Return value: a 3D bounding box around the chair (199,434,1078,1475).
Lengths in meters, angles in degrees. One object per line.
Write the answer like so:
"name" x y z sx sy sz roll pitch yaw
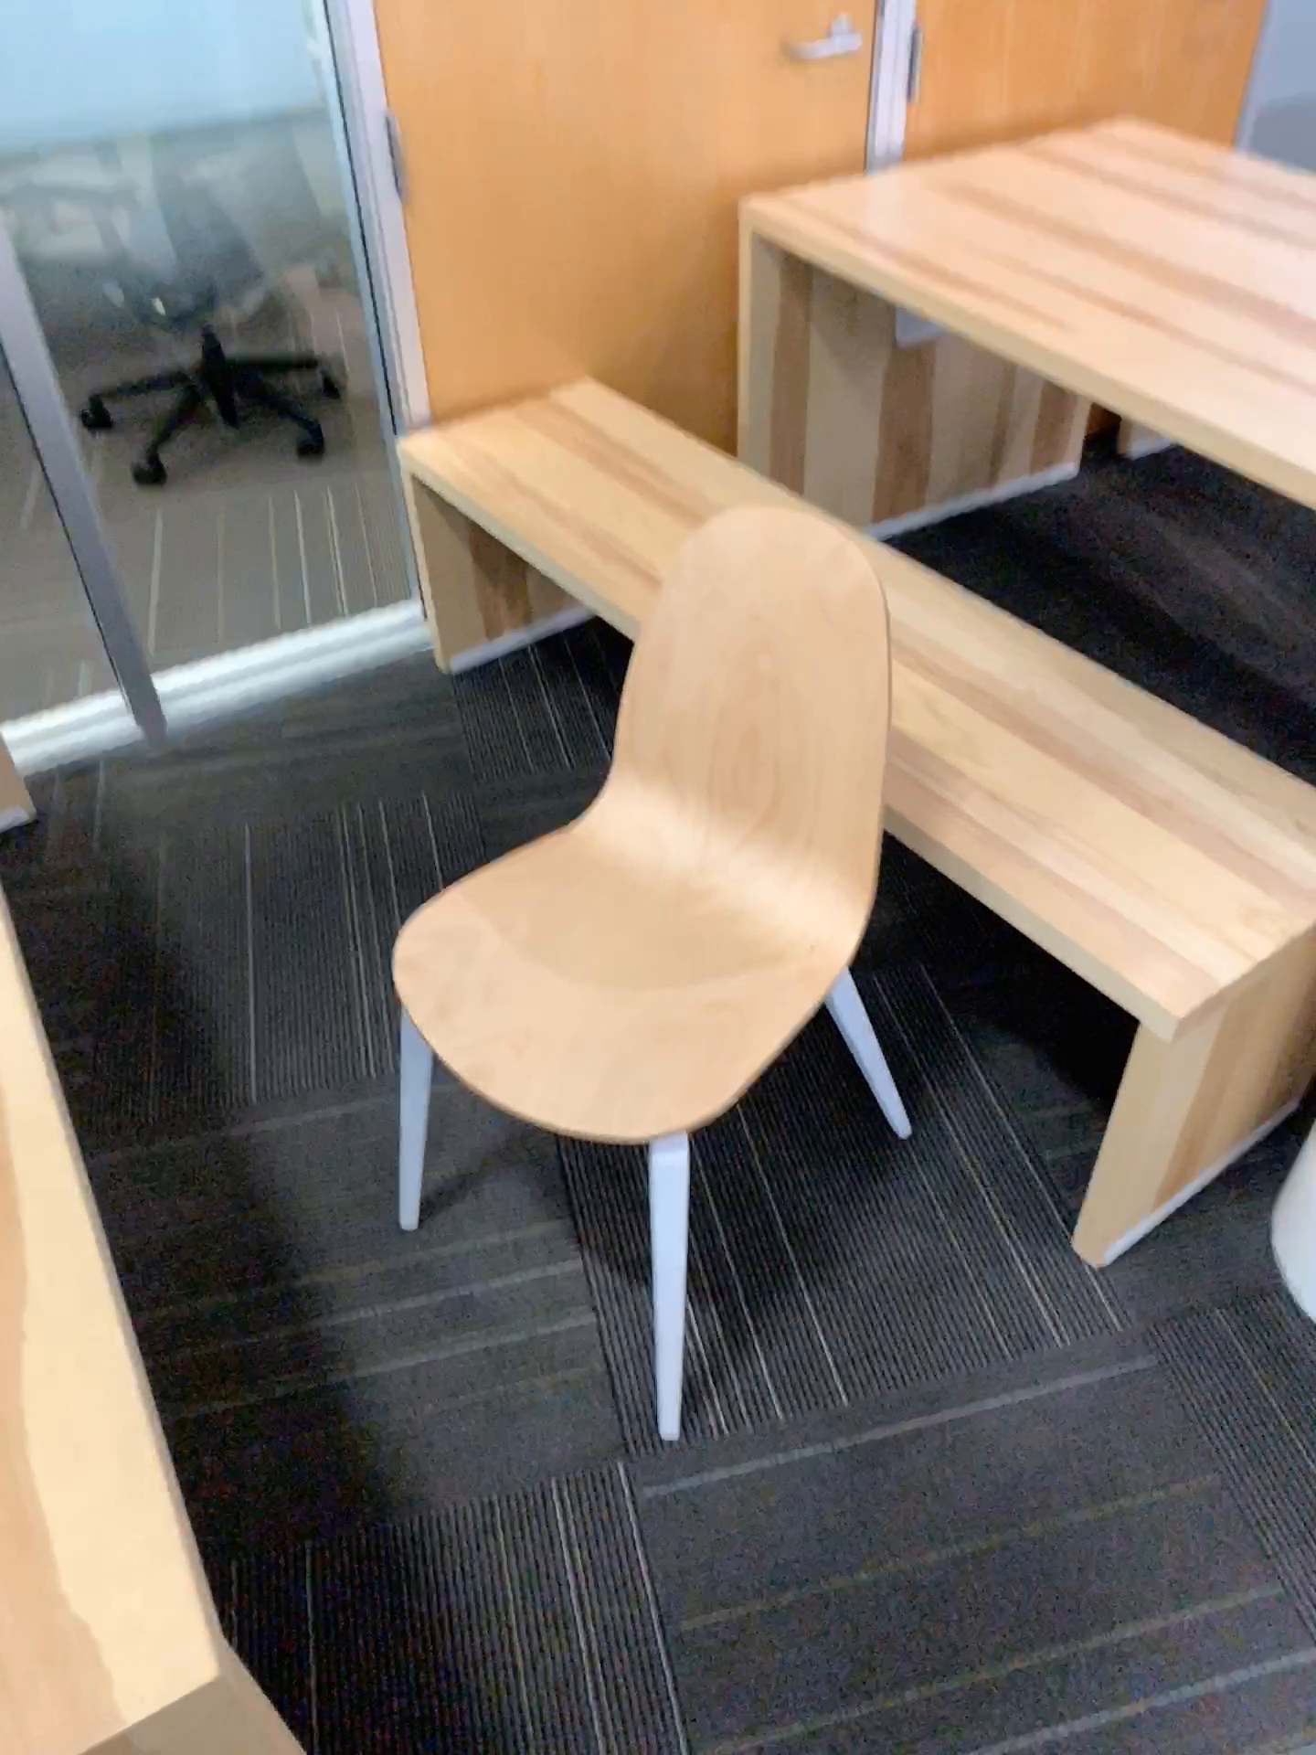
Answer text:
"chair" 0.005 0.078 1.508 0.542 0.835 0.601 29 51 30
